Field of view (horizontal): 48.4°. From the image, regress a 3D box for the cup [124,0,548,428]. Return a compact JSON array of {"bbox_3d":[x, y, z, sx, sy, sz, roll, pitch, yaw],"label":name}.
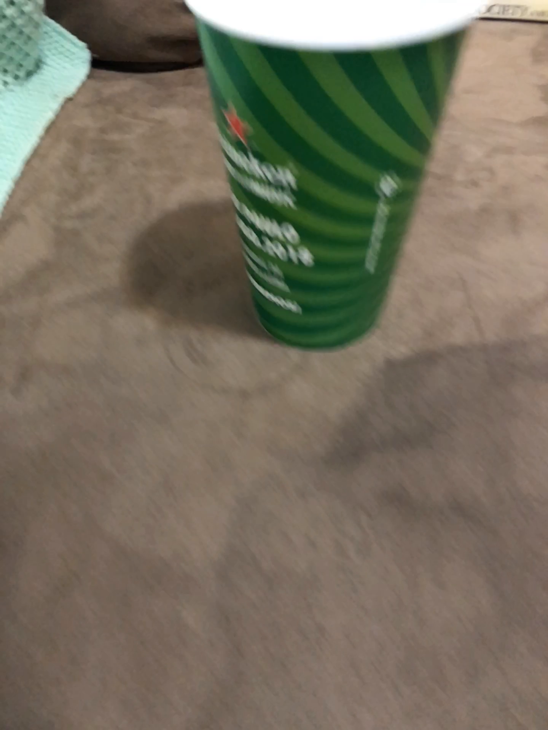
[{"bbox_3d":[0.023,-0.070,0.232,0.100,0.129,0.101,-2,49,2],"label":"cup"}]
